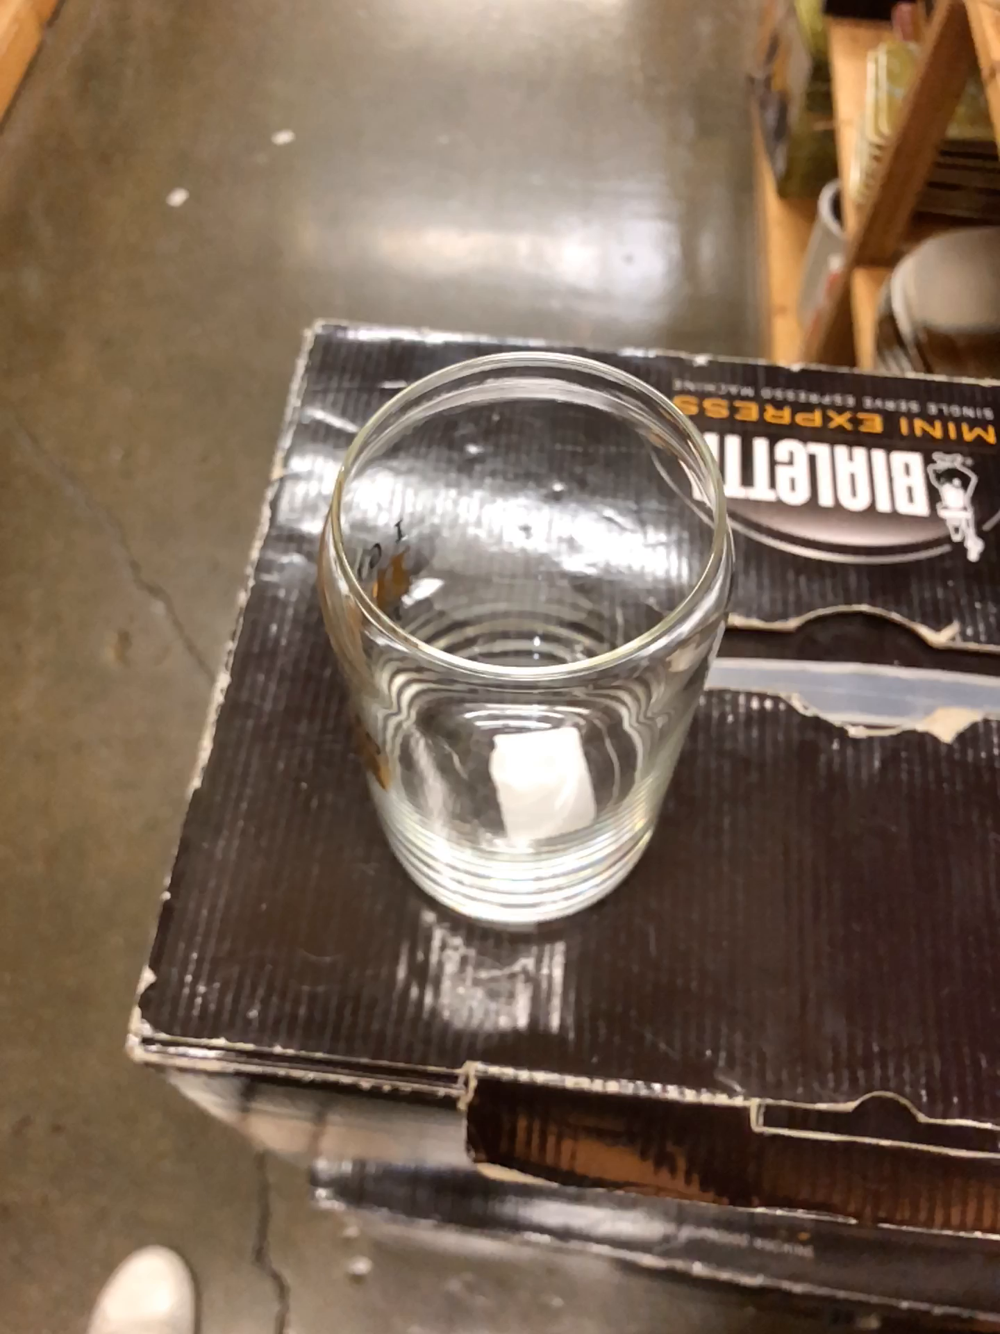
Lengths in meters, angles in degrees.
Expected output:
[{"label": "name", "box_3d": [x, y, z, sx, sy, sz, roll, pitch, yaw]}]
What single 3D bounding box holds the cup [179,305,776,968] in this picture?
[{"label": "cup", "box_3d": [-0.001, 0.002, 0.234, 0.087, 0.116, 0.081, 1, 61, -1]}]
